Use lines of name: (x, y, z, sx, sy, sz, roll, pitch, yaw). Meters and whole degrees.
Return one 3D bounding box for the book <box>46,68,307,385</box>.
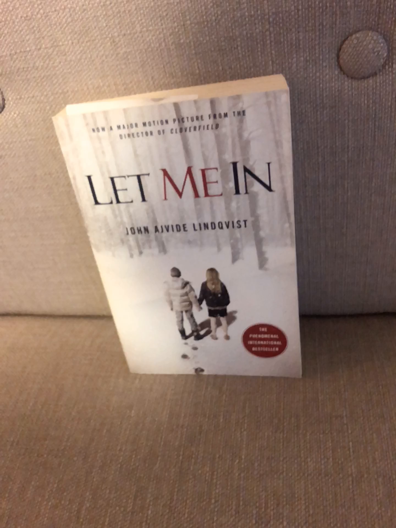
book: (0.000, -0.012, 0.316, 0.147, 0.215, 0.044, -2, 29, 12)
